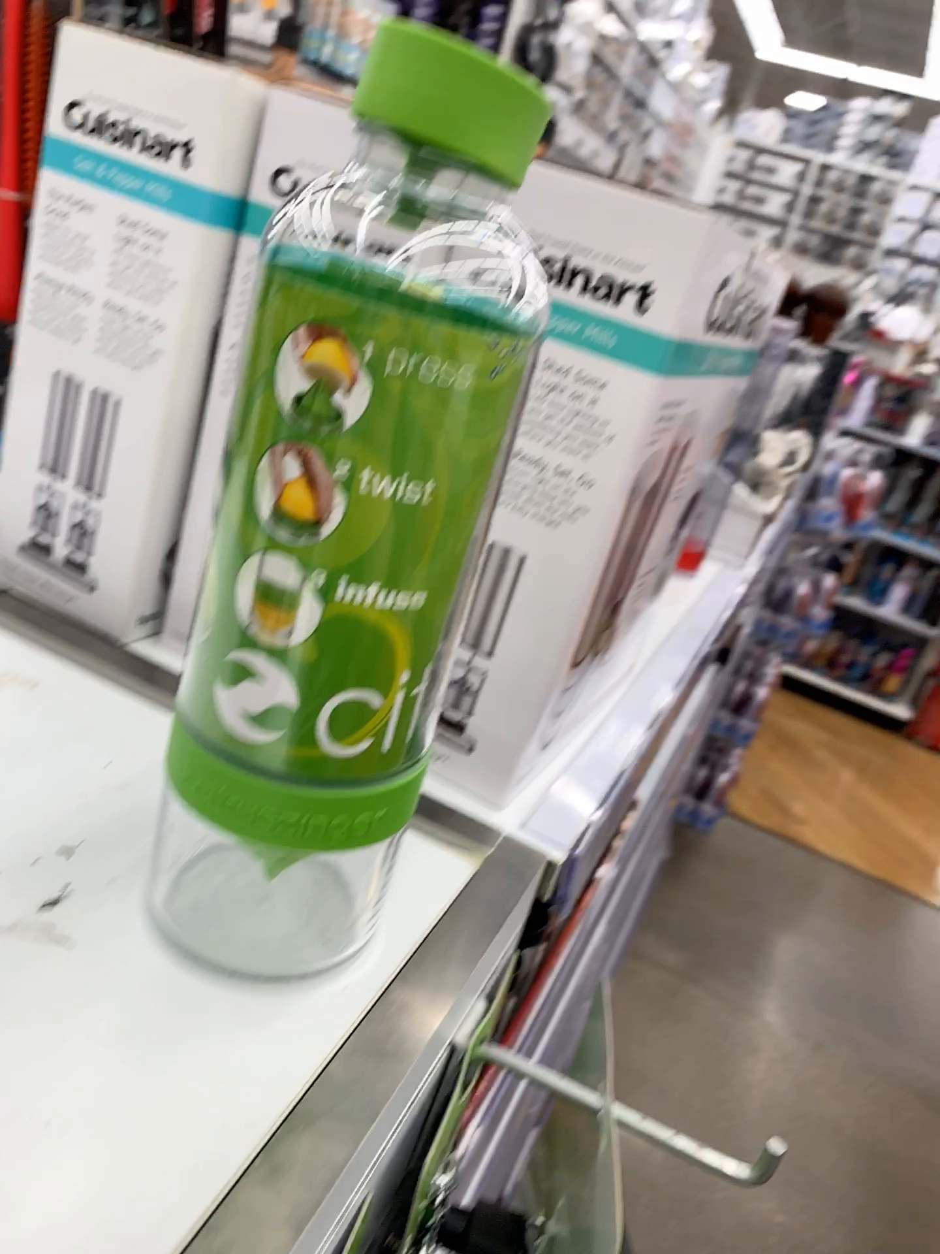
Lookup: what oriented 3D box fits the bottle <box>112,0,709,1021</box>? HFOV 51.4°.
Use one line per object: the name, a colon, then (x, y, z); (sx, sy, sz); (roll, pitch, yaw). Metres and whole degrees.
bottle: (-0.032, -0.024, 0.273); (0.078, 0.250, 0.081); (15, 21, -6)
